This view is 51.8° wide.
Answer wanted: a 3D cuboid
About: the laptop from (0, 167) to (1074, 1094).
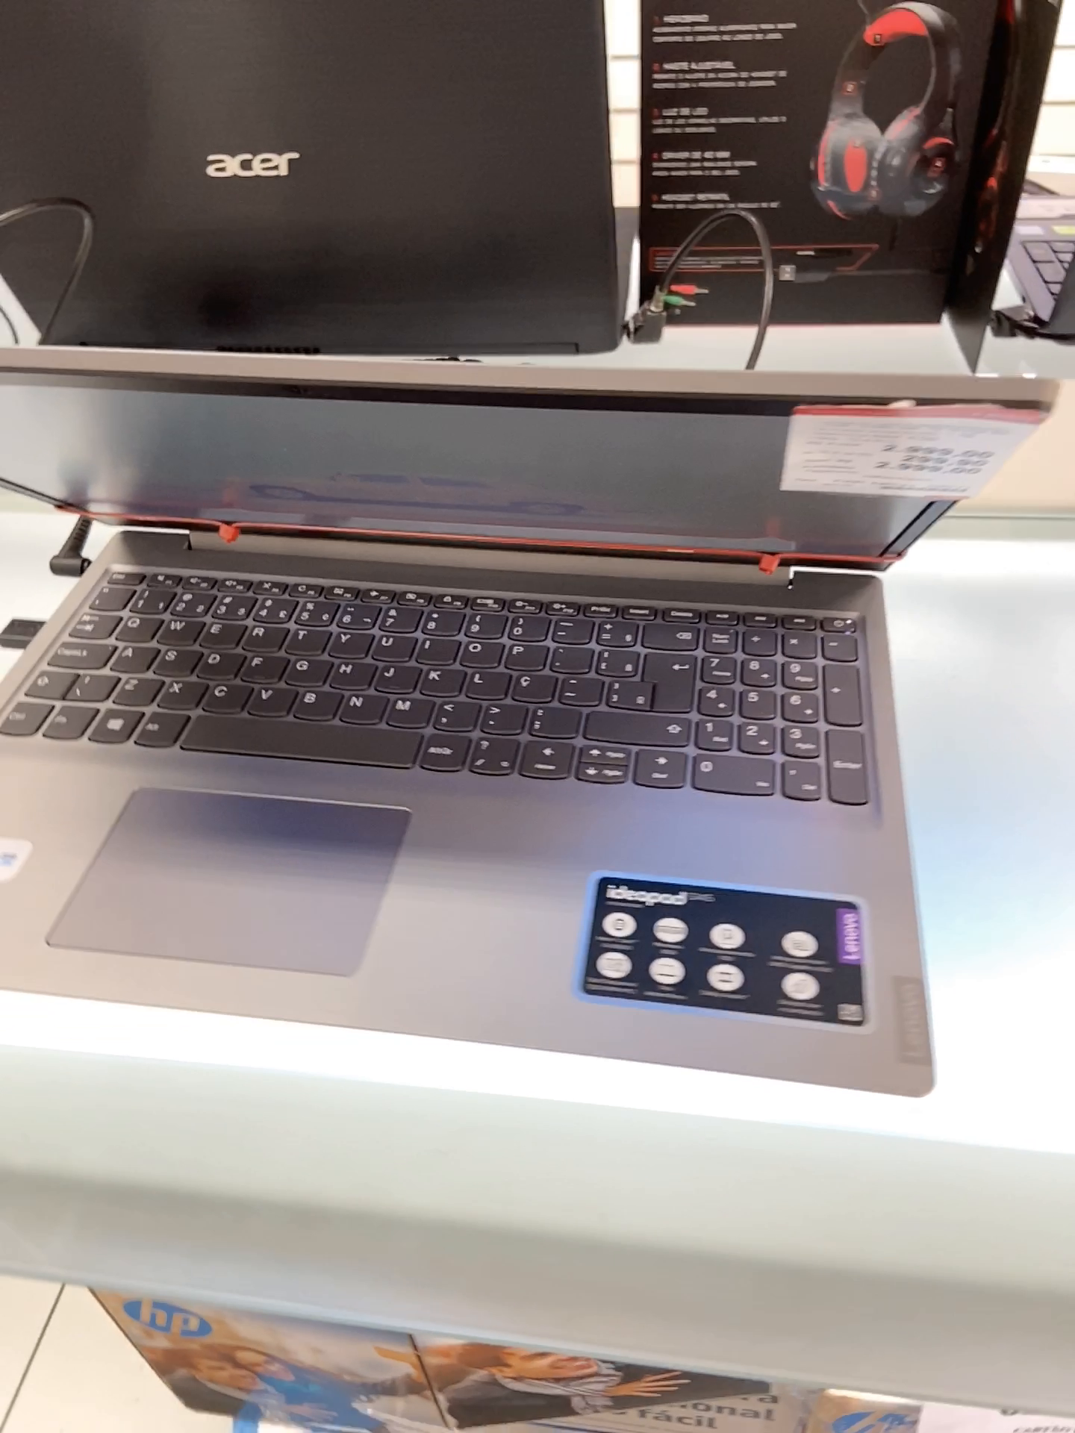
[{"bbox_3d":[-0.050,-0.054,0.372,0.361,0.167,0.248,4,43,9],"label":"laptop"}]
